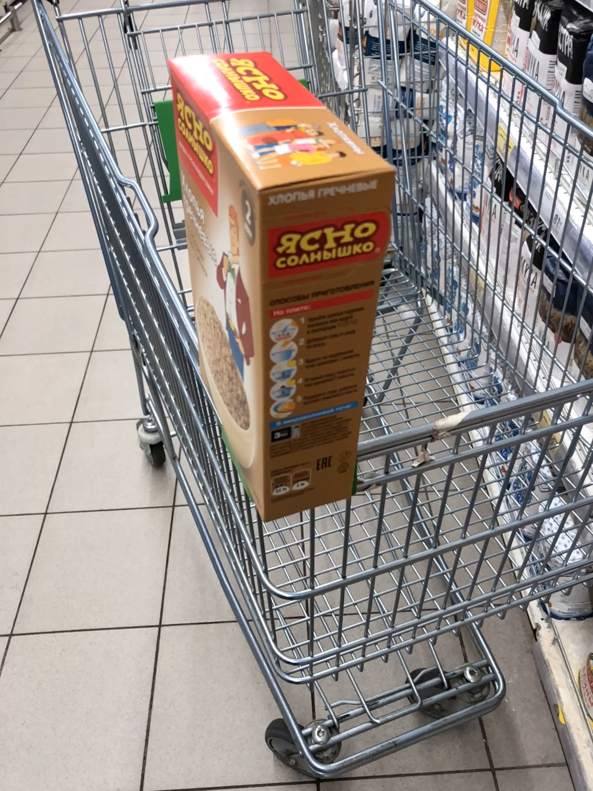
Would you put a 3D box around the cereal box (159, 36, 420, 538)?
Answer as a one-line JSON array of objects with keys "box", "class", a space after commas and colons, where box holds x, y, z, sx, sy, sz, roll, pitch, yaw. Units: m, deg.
[{"box": [-0.011, -0.047, 0.312, 0.060, 0.189, 0.131, -13, 45, -14], "class": "cereal box"}]
